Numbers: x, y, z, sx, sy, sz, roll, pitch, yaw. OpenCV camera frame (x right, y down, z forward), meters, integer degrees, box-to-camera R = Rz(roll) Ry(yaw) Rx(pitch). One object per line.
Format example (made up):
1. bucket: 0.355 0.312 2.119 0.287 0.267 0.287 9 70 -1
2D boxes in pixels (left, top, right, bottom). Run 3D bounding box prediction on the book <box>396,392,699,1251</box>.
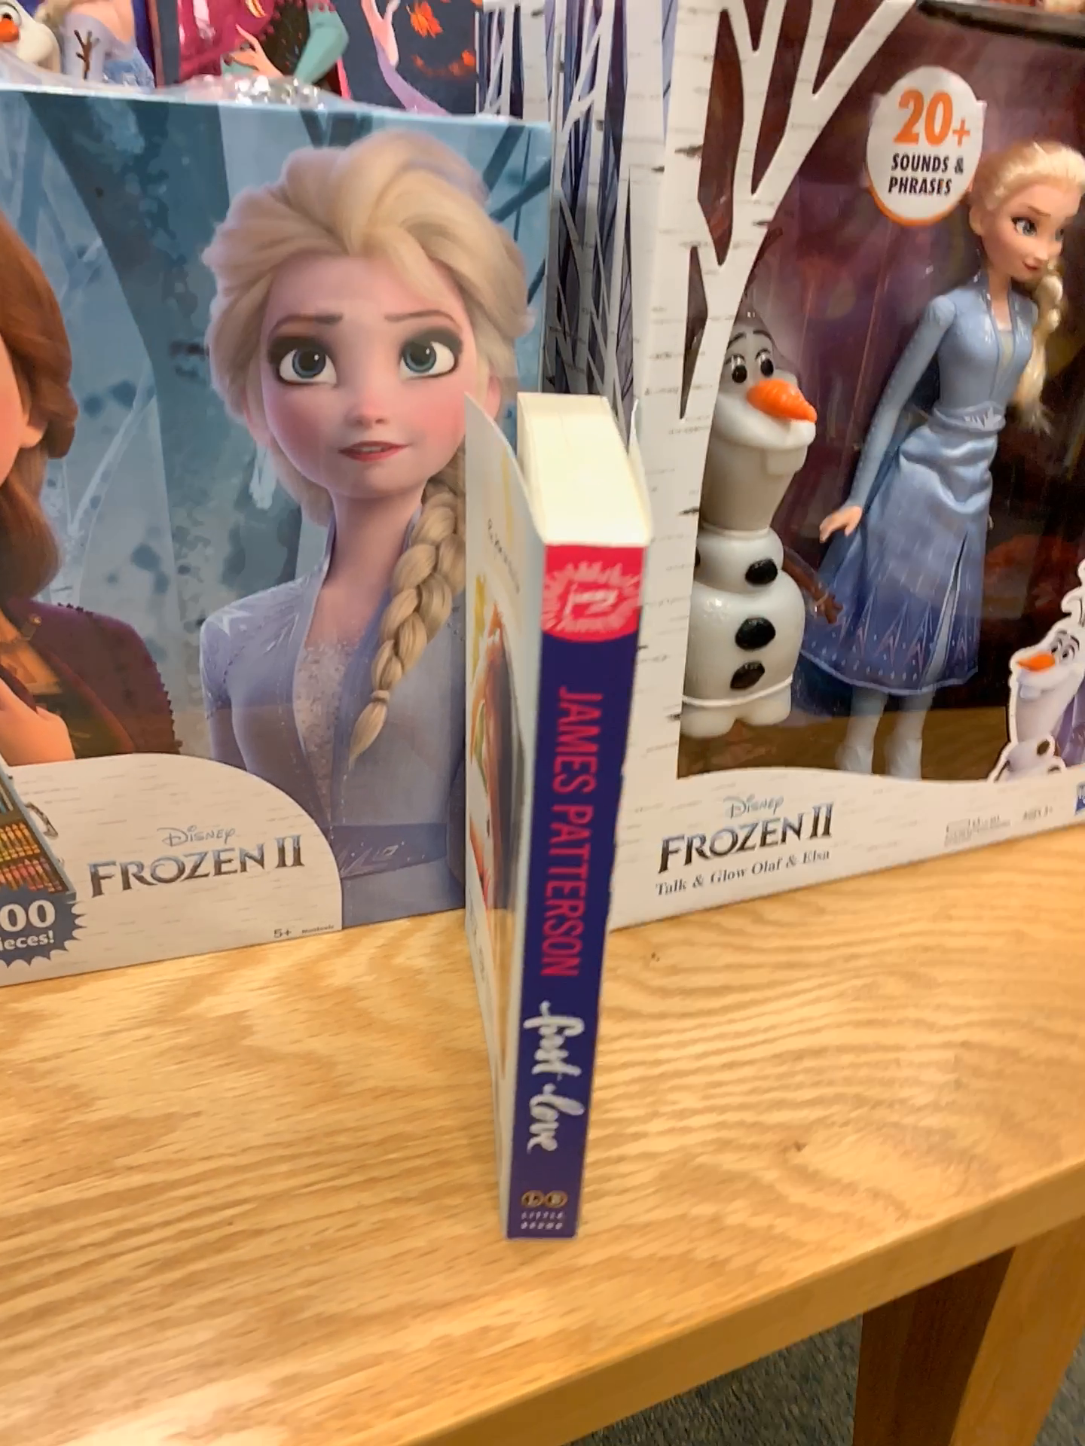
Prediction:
1. book: -0.001 0.023 0.327 0.059 0.205 0.143 1 27 -1
